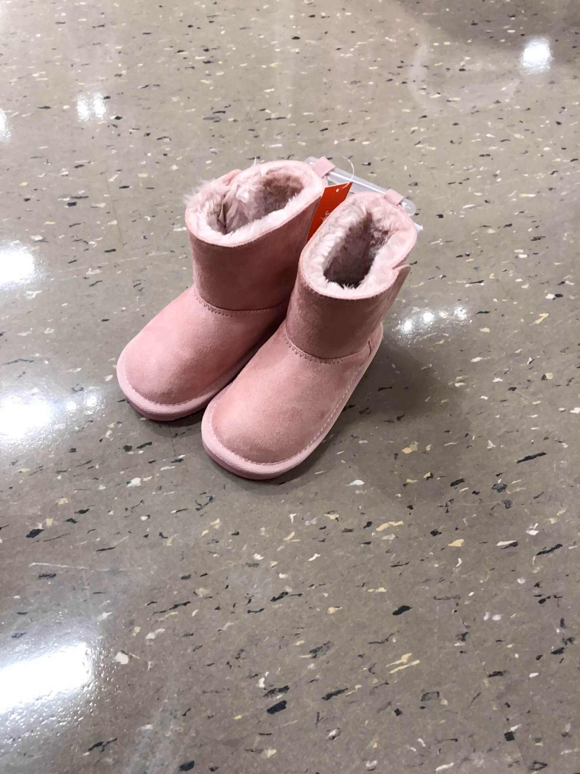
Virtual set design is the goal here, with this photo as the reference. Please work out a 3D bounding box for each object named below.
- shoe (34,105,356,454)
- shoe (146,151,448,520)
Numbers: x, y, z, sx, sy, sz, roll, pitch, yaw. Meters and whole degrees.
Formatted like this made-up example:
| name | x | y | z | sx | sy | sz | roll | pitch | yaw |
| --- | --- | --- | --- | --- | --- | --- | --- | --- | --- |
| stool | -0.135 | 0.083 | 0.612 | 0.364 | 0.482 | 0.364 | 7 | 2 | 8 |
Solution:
| name | x | y | z | sx | sy | sz | roll | pitch | yaw |
| --- | --- | --- | --- | --- | --- | --- | --- | --- | --- |
| shoe | -0.054 | -0.067 | 0.427 | 0.160 | 0.150 | 0.090 | -38 | 68 | -24 |
| shoe | 0.005 | -0.029 | 0.412 | 0.090 | 0.150 | 0.160 | 32 | 61 | 15 |
